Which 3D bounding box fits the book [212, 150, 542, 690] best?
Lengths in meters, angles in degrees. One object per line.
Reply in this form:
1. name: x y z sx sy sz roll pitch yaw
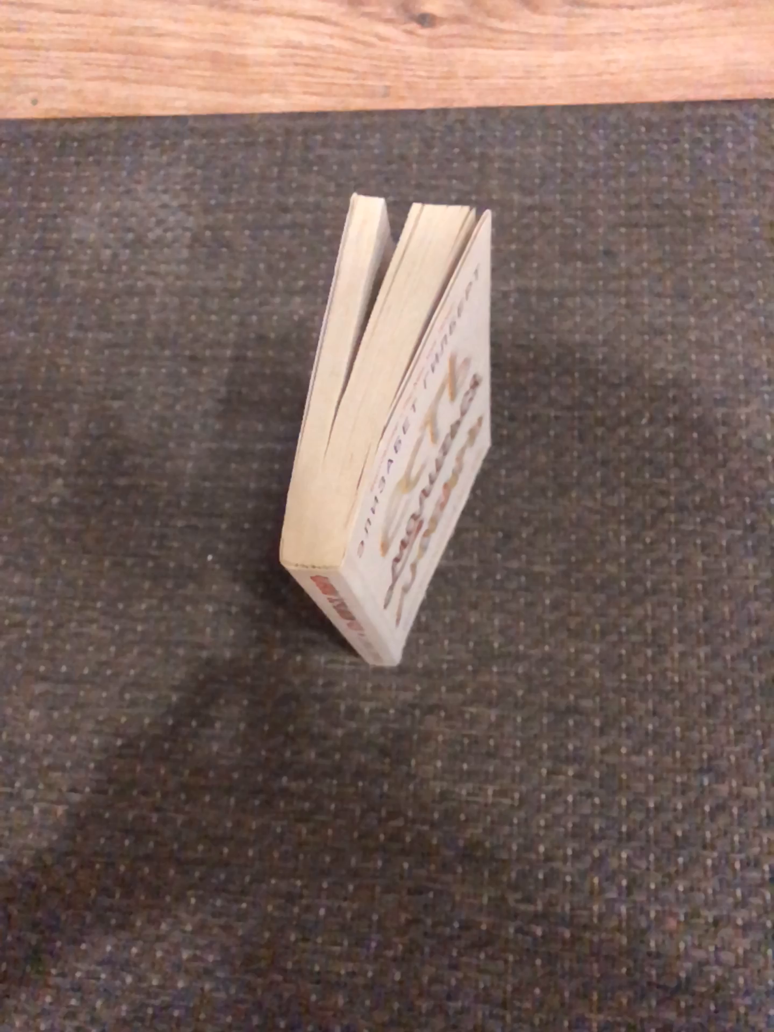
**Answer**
1. book: 0.007 -0.021 0.397 0.068 0.214 0.161 16 73 9
